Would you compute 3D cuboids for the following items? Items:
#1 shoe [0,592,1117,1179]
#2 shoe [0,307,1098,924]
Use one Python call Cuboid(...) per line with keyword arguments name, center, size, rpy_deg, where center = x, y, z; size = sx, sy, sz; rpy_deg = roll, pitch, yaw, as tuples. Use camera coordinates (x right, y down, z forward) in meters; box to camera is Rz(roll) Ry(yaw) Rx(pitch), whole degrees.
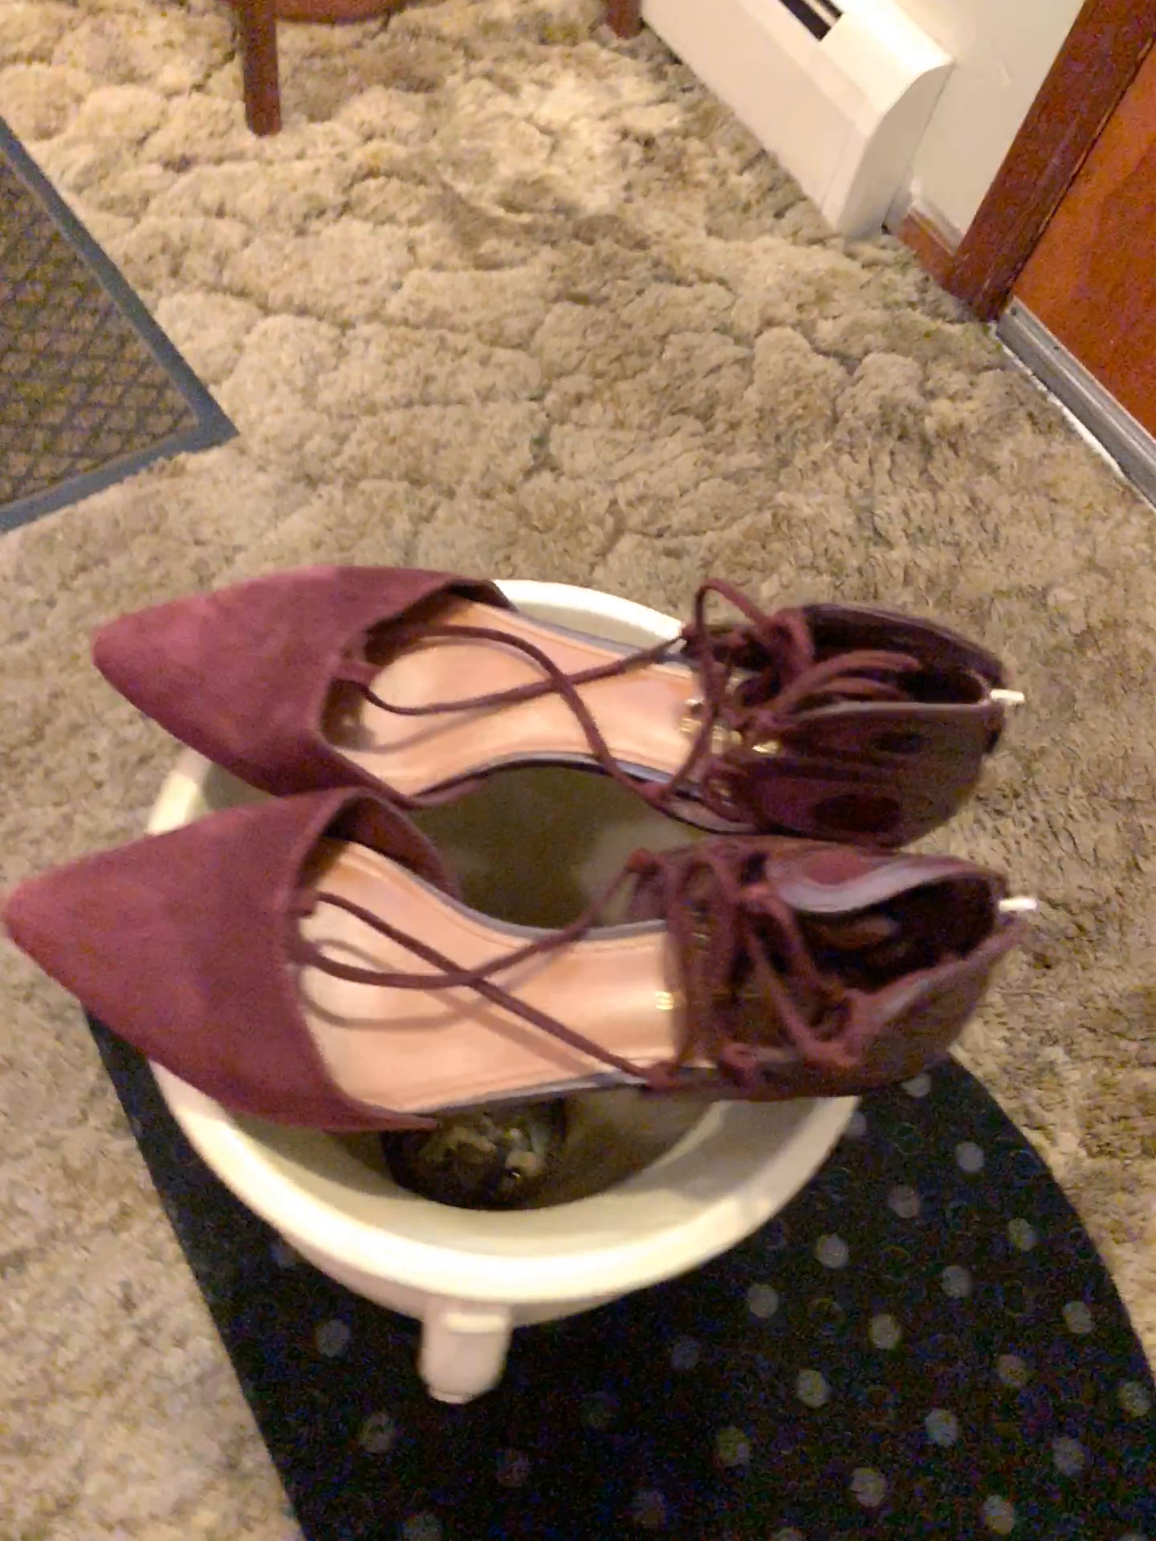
Cuboid(name="shoe", center=(-0.020, 0.038, 0.301), size=(0.260, 0.099, 0.093), rpy_deg=(7, 62, -6))
Cuboid(name="shoe", center=(-0.006, -0.036, 0.337), size=(0.260, 0.099, 0.093), rpy_deg=(9, 62, -5))
